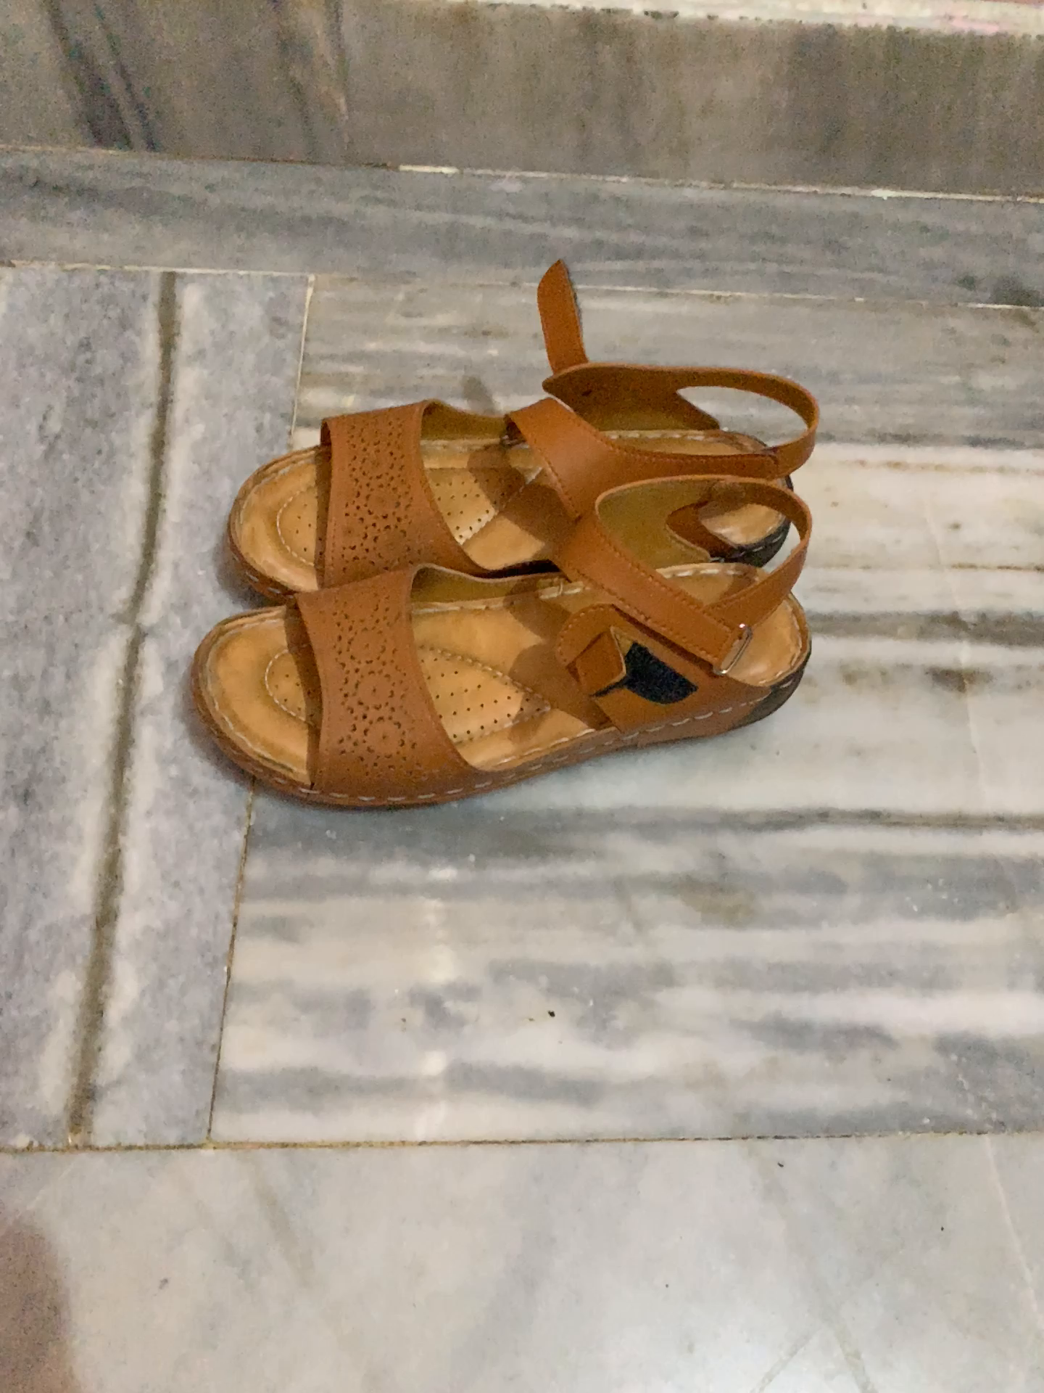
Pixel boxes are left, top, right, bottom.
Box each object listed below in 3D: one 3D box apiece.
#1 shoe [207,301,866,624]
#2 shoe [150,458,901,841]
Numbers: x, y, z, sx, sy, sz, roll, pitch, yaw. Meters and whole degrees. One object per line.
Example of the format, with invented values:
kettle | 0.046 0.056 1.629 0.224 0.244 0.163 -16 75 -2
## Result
shoe | 0.002 -0.100 0.469 0.250 0.100 0.090 -2 60 -6
shoe | -0.003 -0.018 0.425 0.256 0.100 0.090 -5 61 -8
